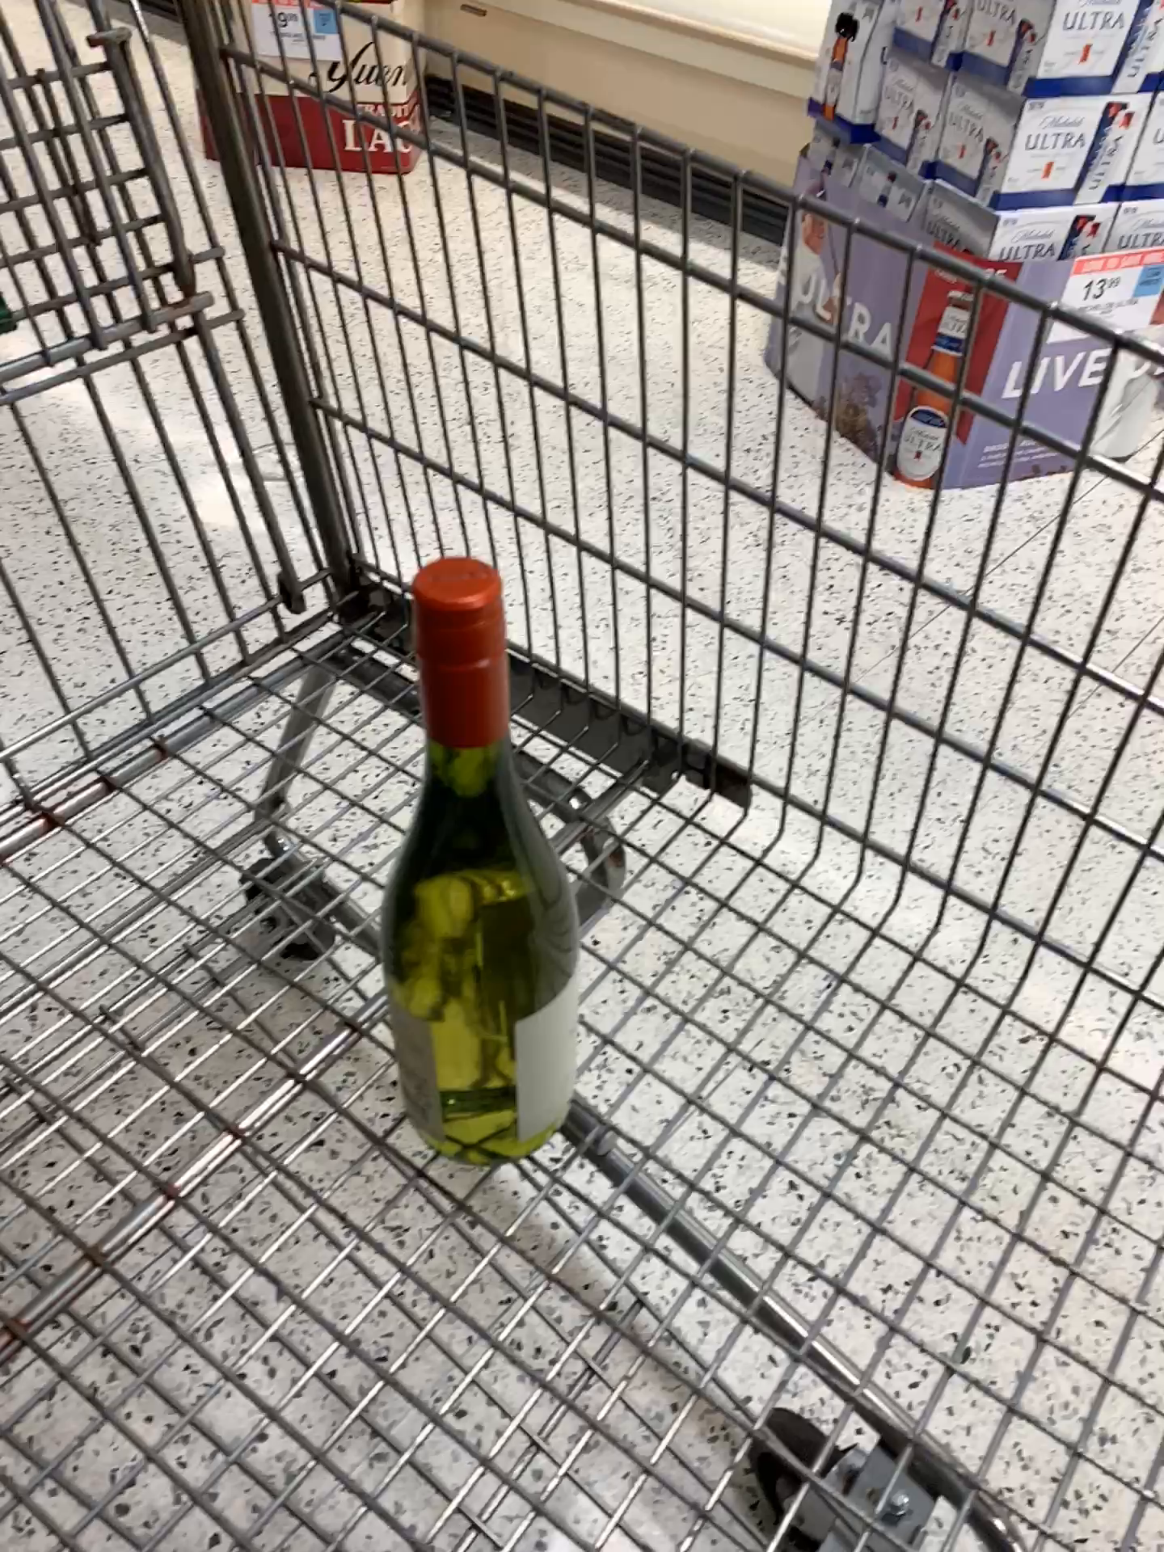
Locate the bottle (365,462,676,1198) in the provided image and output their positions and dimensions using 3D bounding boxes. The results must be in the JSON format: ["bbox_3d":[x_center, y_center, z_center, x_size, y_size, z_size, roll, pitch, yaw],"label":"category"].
[{"bbox_3d":[-0.031,0.040,0.448,0.080,0.297,0.091,-4,44,-9],"label":"bottle"}]
